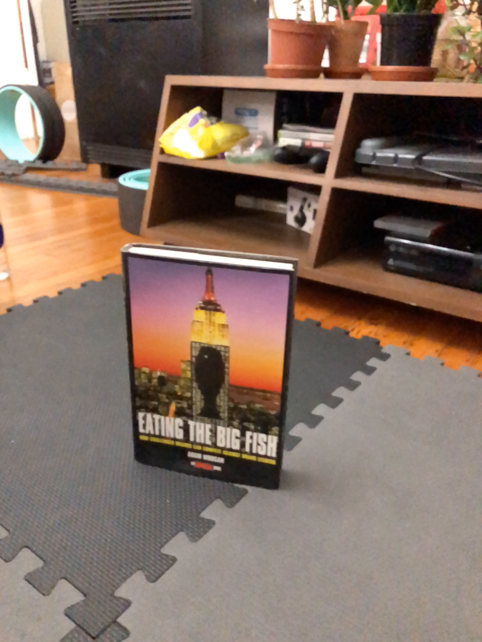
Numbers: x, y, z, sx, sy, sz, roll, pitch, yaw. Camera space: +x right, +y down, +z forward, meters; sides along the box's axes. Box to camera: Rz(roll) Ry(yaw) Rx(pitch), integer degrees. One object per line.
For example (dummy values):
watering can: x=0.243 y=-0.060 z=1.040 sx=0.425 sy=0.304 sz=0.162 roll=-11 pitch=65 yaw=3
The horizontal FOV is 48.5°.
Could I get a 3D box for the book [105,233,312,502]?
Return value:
book: x=-0.030 y=0.051 z=0.538 sx=0.180 sy=0.259 sz=0.050 roll=6 pitch=26 yaw=11
